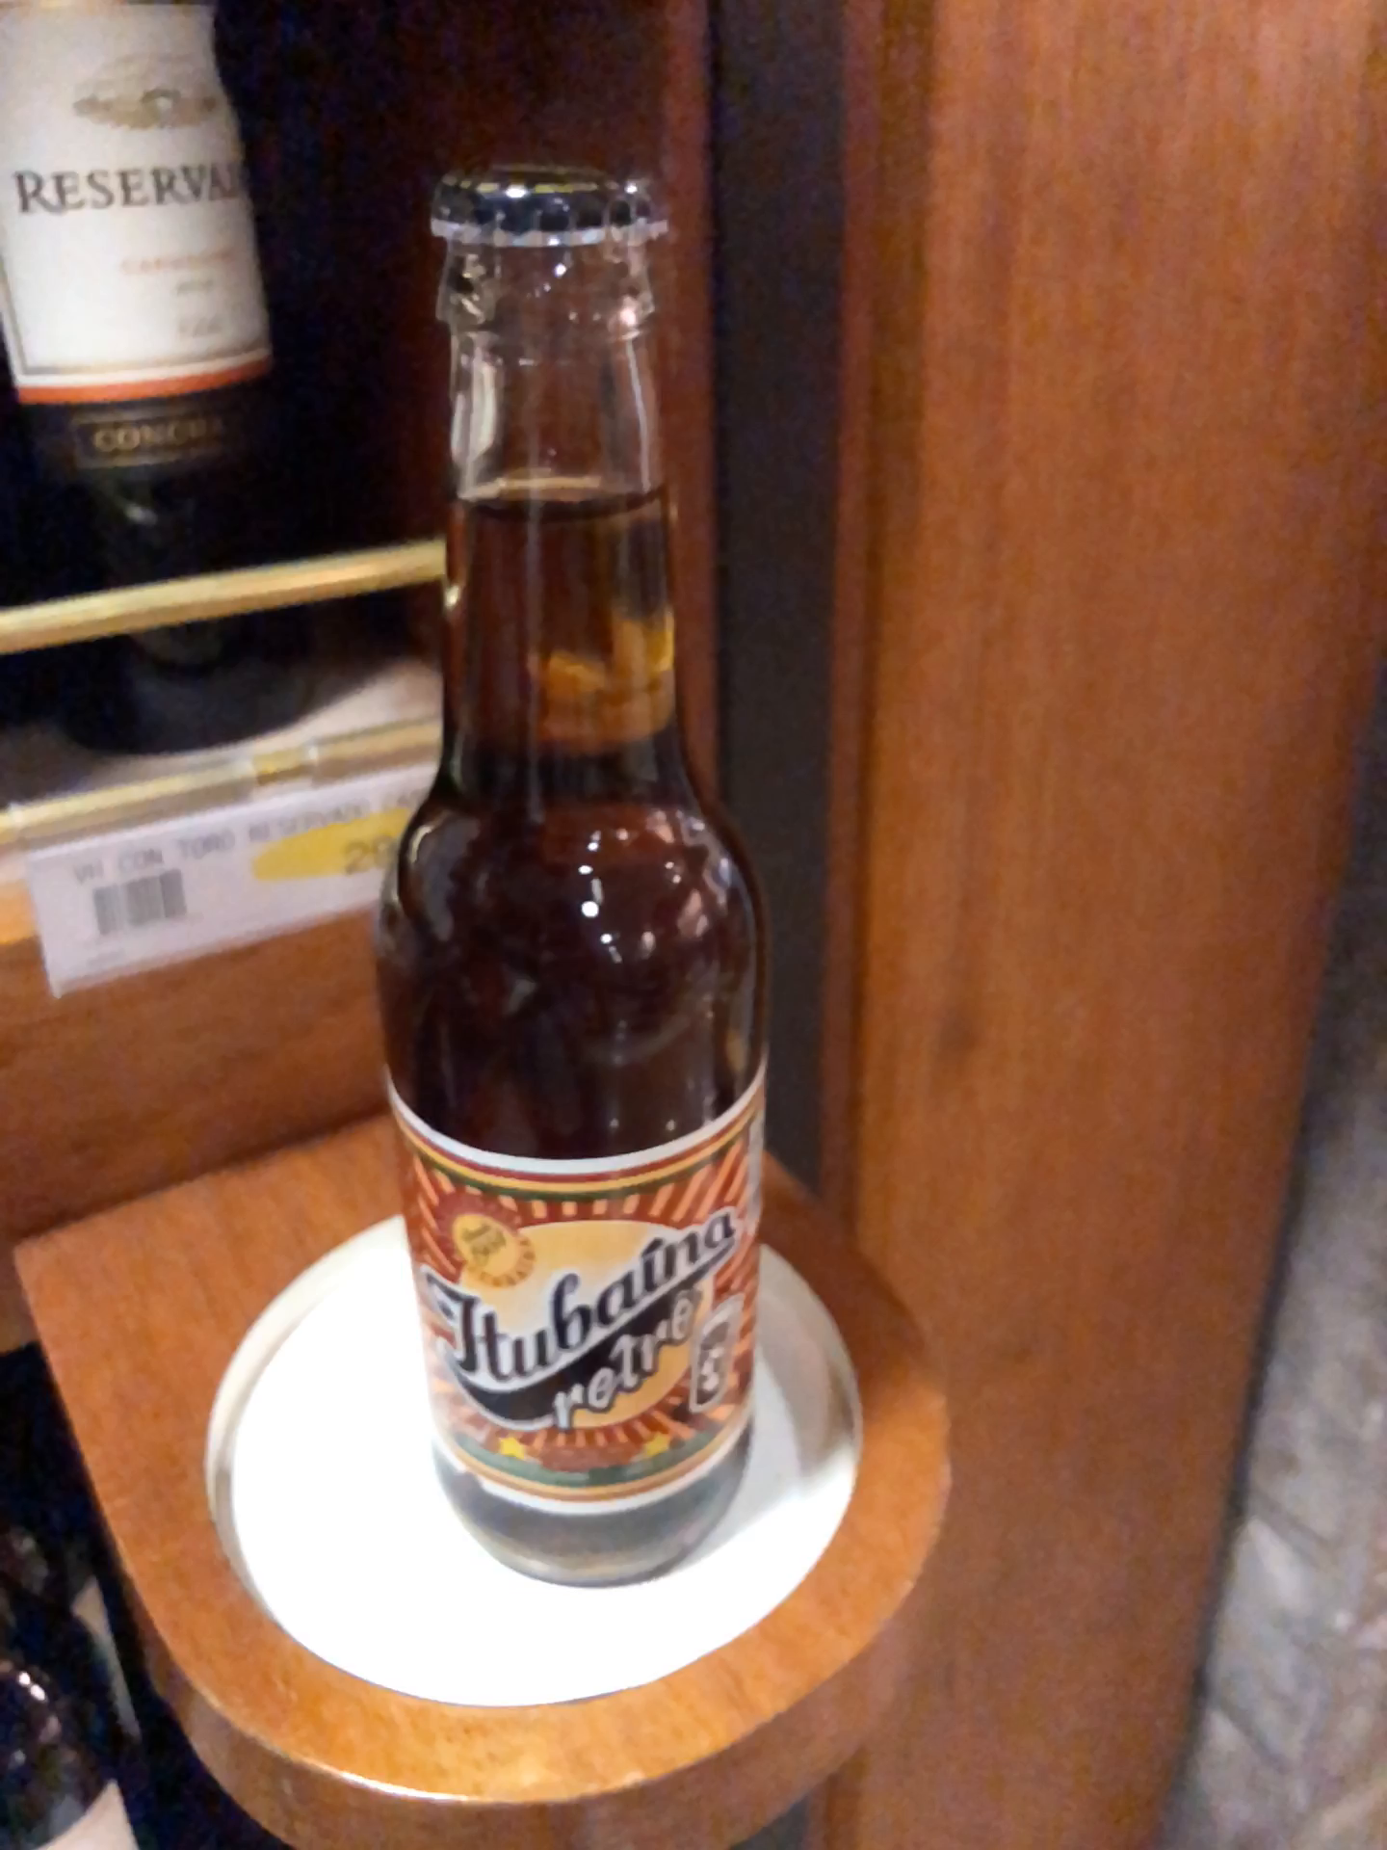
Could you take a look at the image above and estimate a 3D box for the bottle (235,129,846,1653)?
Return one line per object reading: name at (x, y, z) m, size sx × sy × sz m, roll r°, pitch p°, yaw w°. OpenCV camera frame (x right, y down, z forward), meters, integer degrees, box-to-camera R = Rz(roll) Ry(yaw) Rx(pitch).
bottle at (-0.022, 0.003, 0.271) m, size 0.070 × 0.248 × 0.070 m, roll -1°, pitch 27°, yaw 1°
